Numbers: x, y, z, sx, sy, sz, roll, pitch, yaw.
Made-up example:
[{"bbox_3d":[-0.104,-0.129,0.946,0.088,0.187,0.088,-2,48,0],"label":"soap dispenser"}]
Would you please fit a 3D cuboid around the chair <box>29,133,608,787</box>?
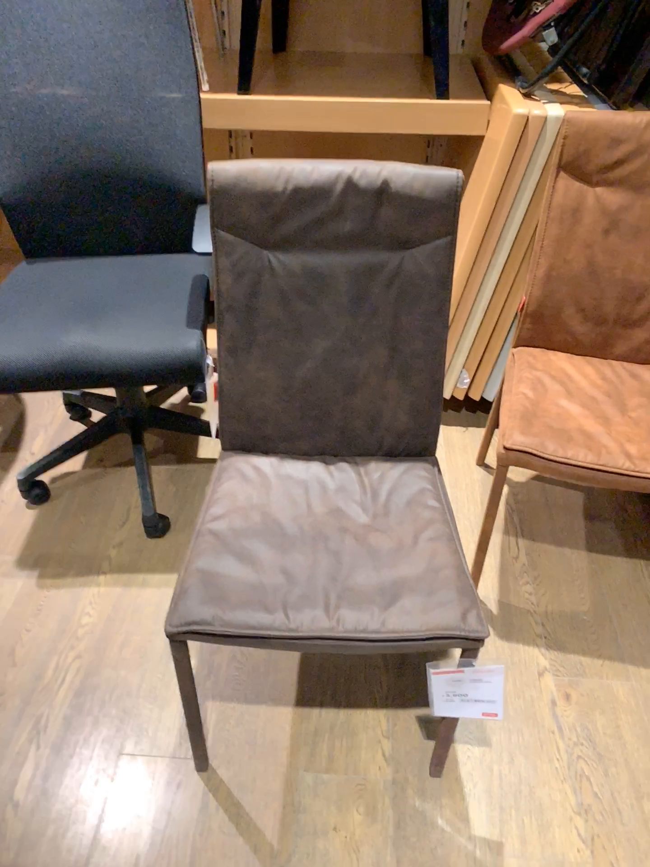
[{"bbox_3d":[-0.009,0.082,1.060,0.500,0.907,0.522,2,39,1],"label":"chair"}]
